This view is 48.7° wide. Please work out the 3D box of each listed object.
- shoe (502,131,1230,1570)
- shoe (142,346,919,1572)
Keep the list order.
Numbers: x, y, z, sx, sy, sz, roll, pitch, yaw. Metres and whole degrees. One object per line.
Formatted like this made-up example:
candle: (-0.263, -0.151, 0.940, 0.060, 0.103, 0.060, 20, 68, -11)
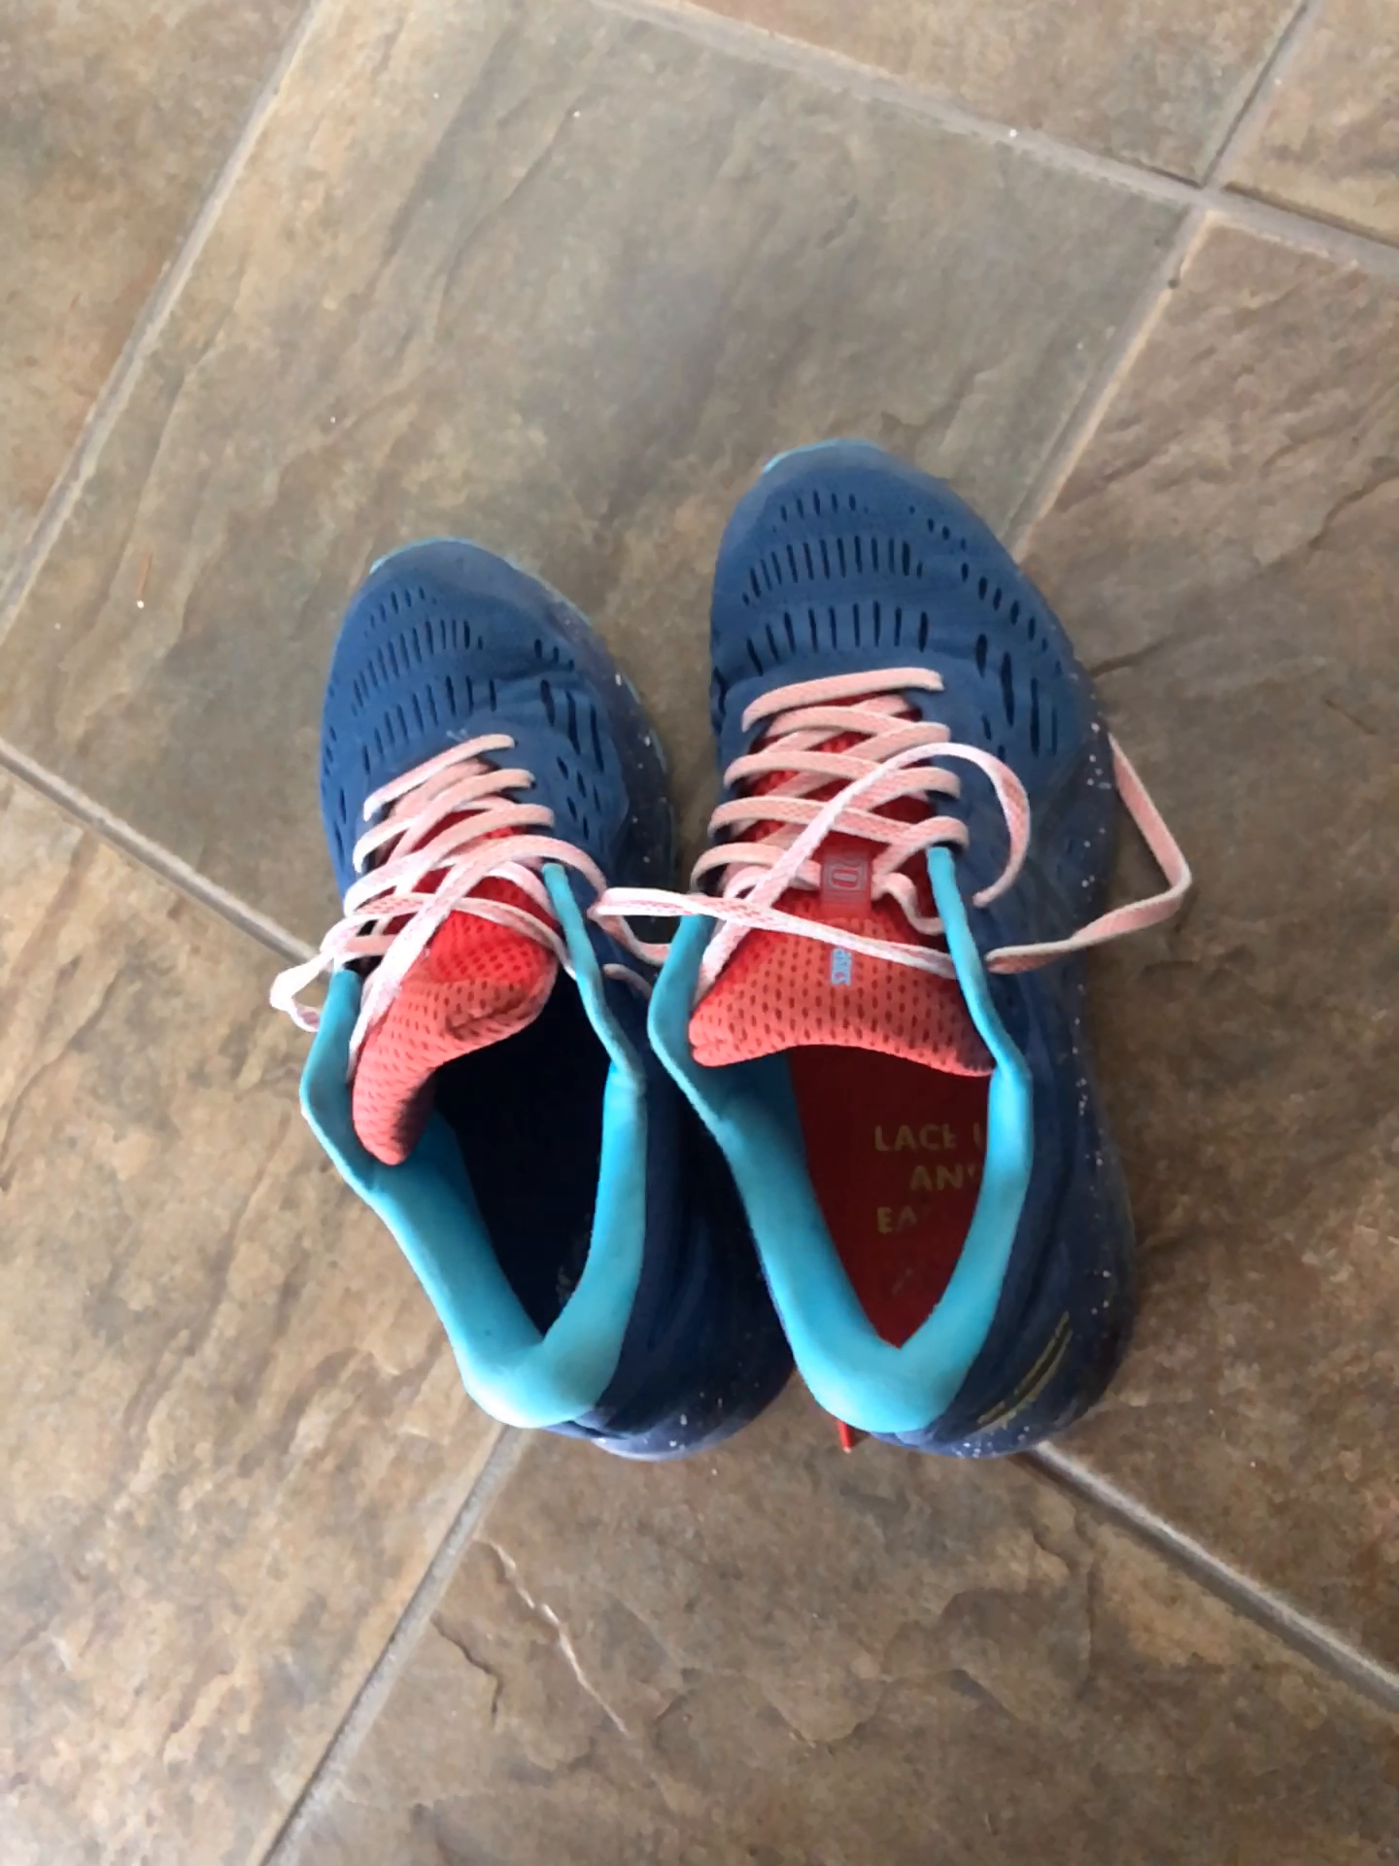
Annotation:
shoe: (0.047, -0.013, 0.397, 0.120, 0.130, 0.300, -10, 80, 19)
shoe: (-0.048, 0.008, 0.465, 0.120, 0.130, 0.300, -19, 77, 17)
